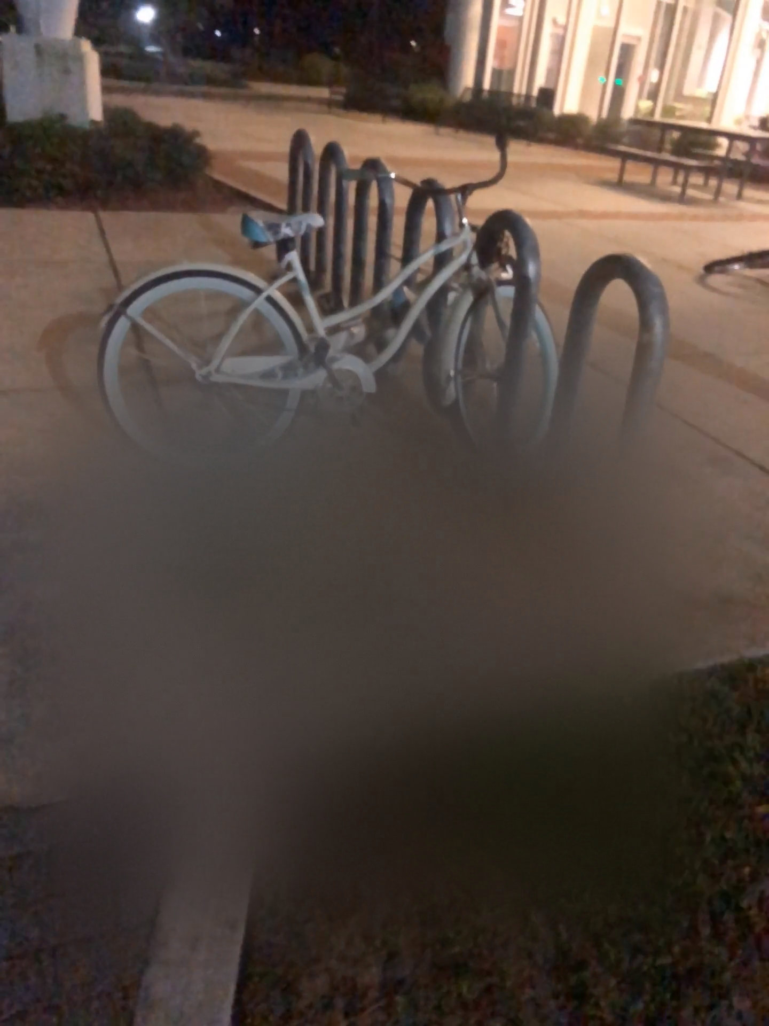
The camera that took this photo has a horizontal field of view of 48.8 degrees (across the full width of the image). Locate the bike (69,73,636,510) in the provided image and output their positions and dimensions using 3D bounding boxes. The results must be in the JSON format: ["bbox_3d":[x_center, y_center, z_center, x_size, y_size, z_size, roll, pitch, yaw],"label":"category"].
[{"bbox_3d":[-0.105,-0.853,2.900,1.679,1.094,0.743,-10,31,-19],"label":"bike"}]
